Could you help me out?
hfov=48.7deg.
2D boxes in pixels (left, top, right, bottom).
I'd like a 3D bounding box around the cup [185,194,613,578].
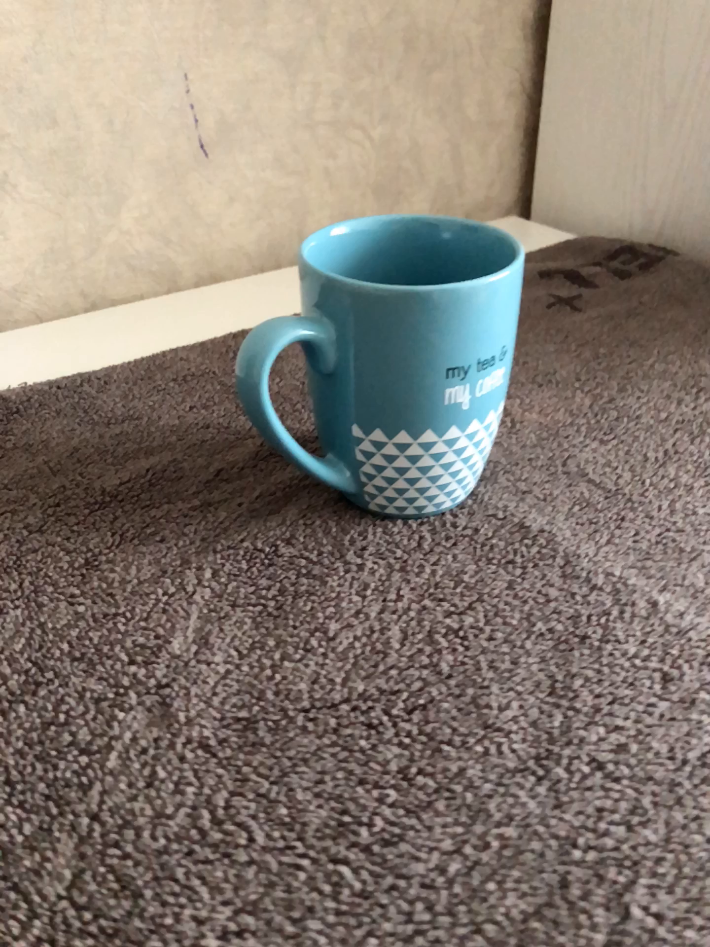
[{"bbox_3d":[0.017,-0.043,0.301,0.126,0.089,0.087,-24,40,-32],"label":"cup"}]
